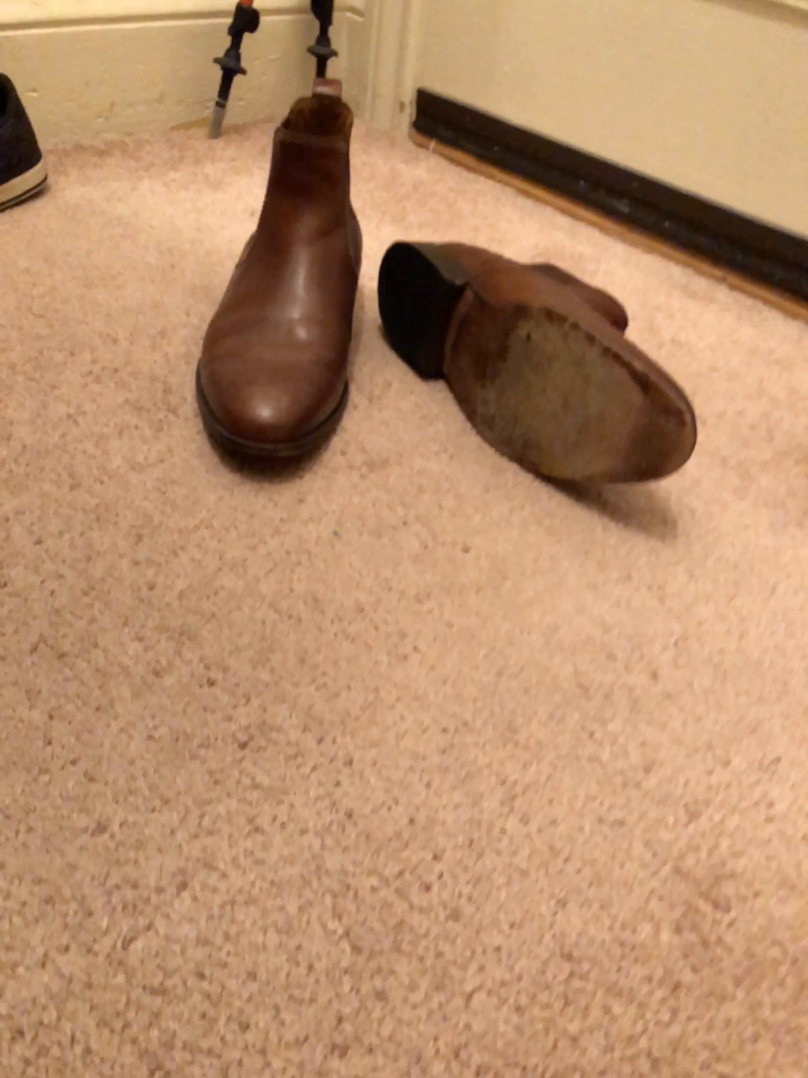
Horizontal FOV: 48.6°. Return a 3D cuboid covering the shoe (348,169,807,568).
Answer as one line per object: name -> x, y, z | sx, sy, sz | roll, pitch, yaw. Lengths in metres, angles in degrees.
shoe -> 0.118, -0.140, 0.632 | 0.170, 0.118, 0.297 | -20, 49, -31

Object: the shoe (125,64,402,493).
shoe -> -0.078, -0.191, 0.606 | 0.109, 0.158, 0.298 | 9, 40, 0
